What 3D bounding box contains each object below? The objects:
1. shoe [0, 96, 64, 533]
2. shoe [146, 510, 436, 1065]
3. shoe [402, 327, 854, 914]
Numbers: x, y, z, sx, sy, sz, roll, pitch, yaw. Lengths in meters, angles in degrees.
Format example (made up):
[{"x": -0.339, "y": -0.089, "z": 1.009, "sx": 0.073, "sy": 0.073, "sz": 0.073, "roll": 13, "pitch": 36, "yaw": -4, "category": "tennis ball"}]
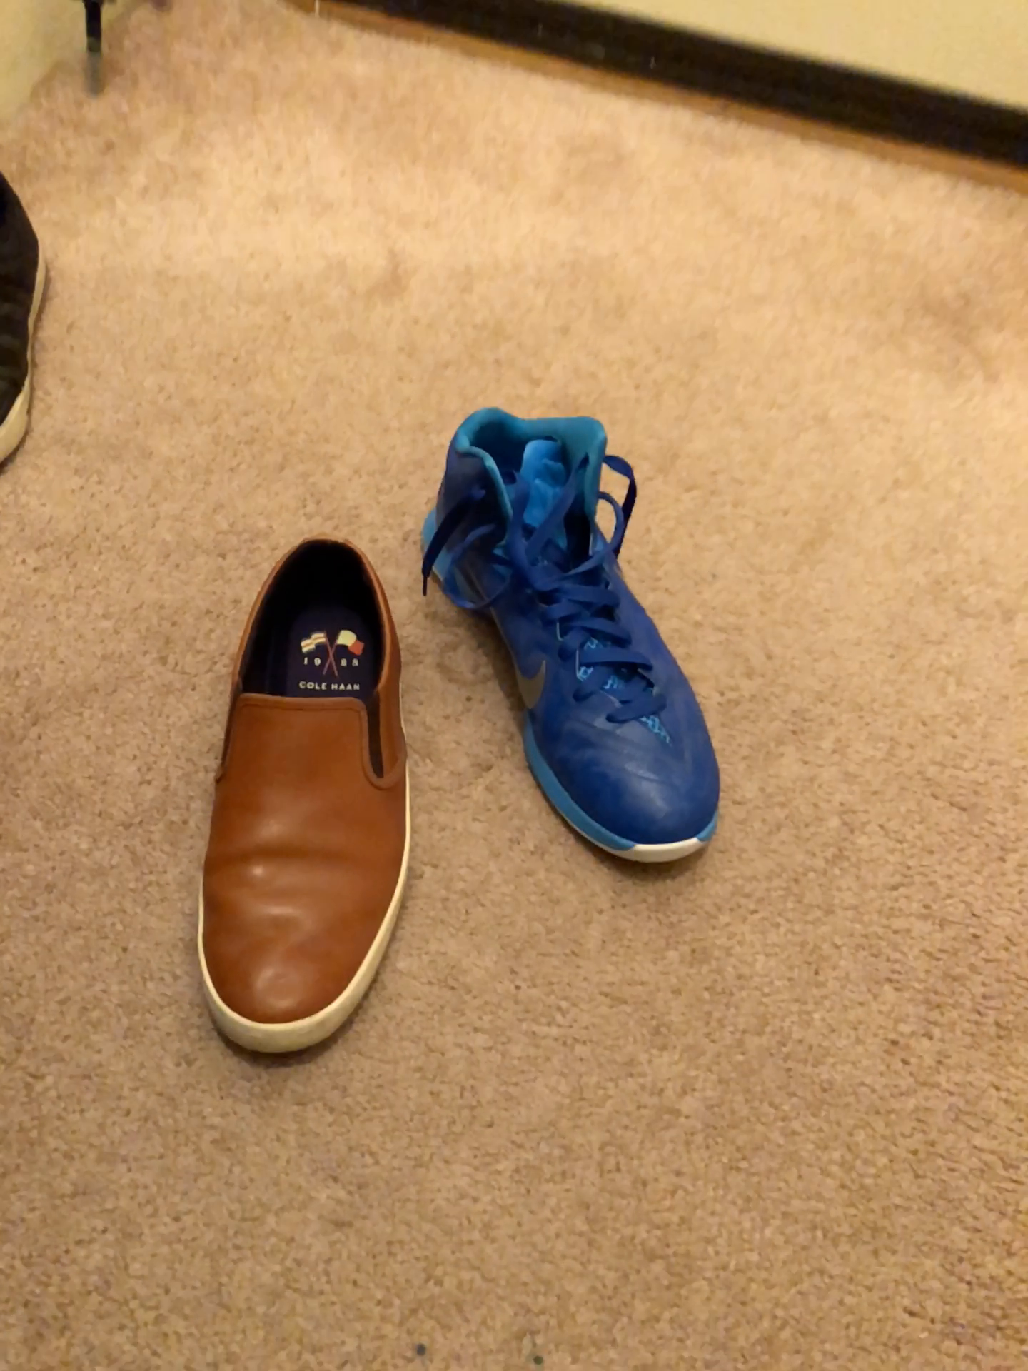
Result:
[{"x": -0.383, "y": -0.250, "z": 0.743, "sx": 0.115, "sy": 0.113, "sz": 0.293, "roll": -2, "pitch": 57, "yaw": -9, "category": "shoe"}, {"x": -0.106, "y": 0.044, "z": 0.603, "sx": 0.105, "sy": 0.083, "sz": 0.283, "roll": 5, "pitch": 56, "yaw": -4, "category": "shoe"}, {"x": 0.043, "y": -0.045, "z": 0.649, "sx": 0.115, "sy": 0.143, "sz": 0.293, "roll": -17, "pitch": 60, "yaw": -18, "category": "shoe"}]
